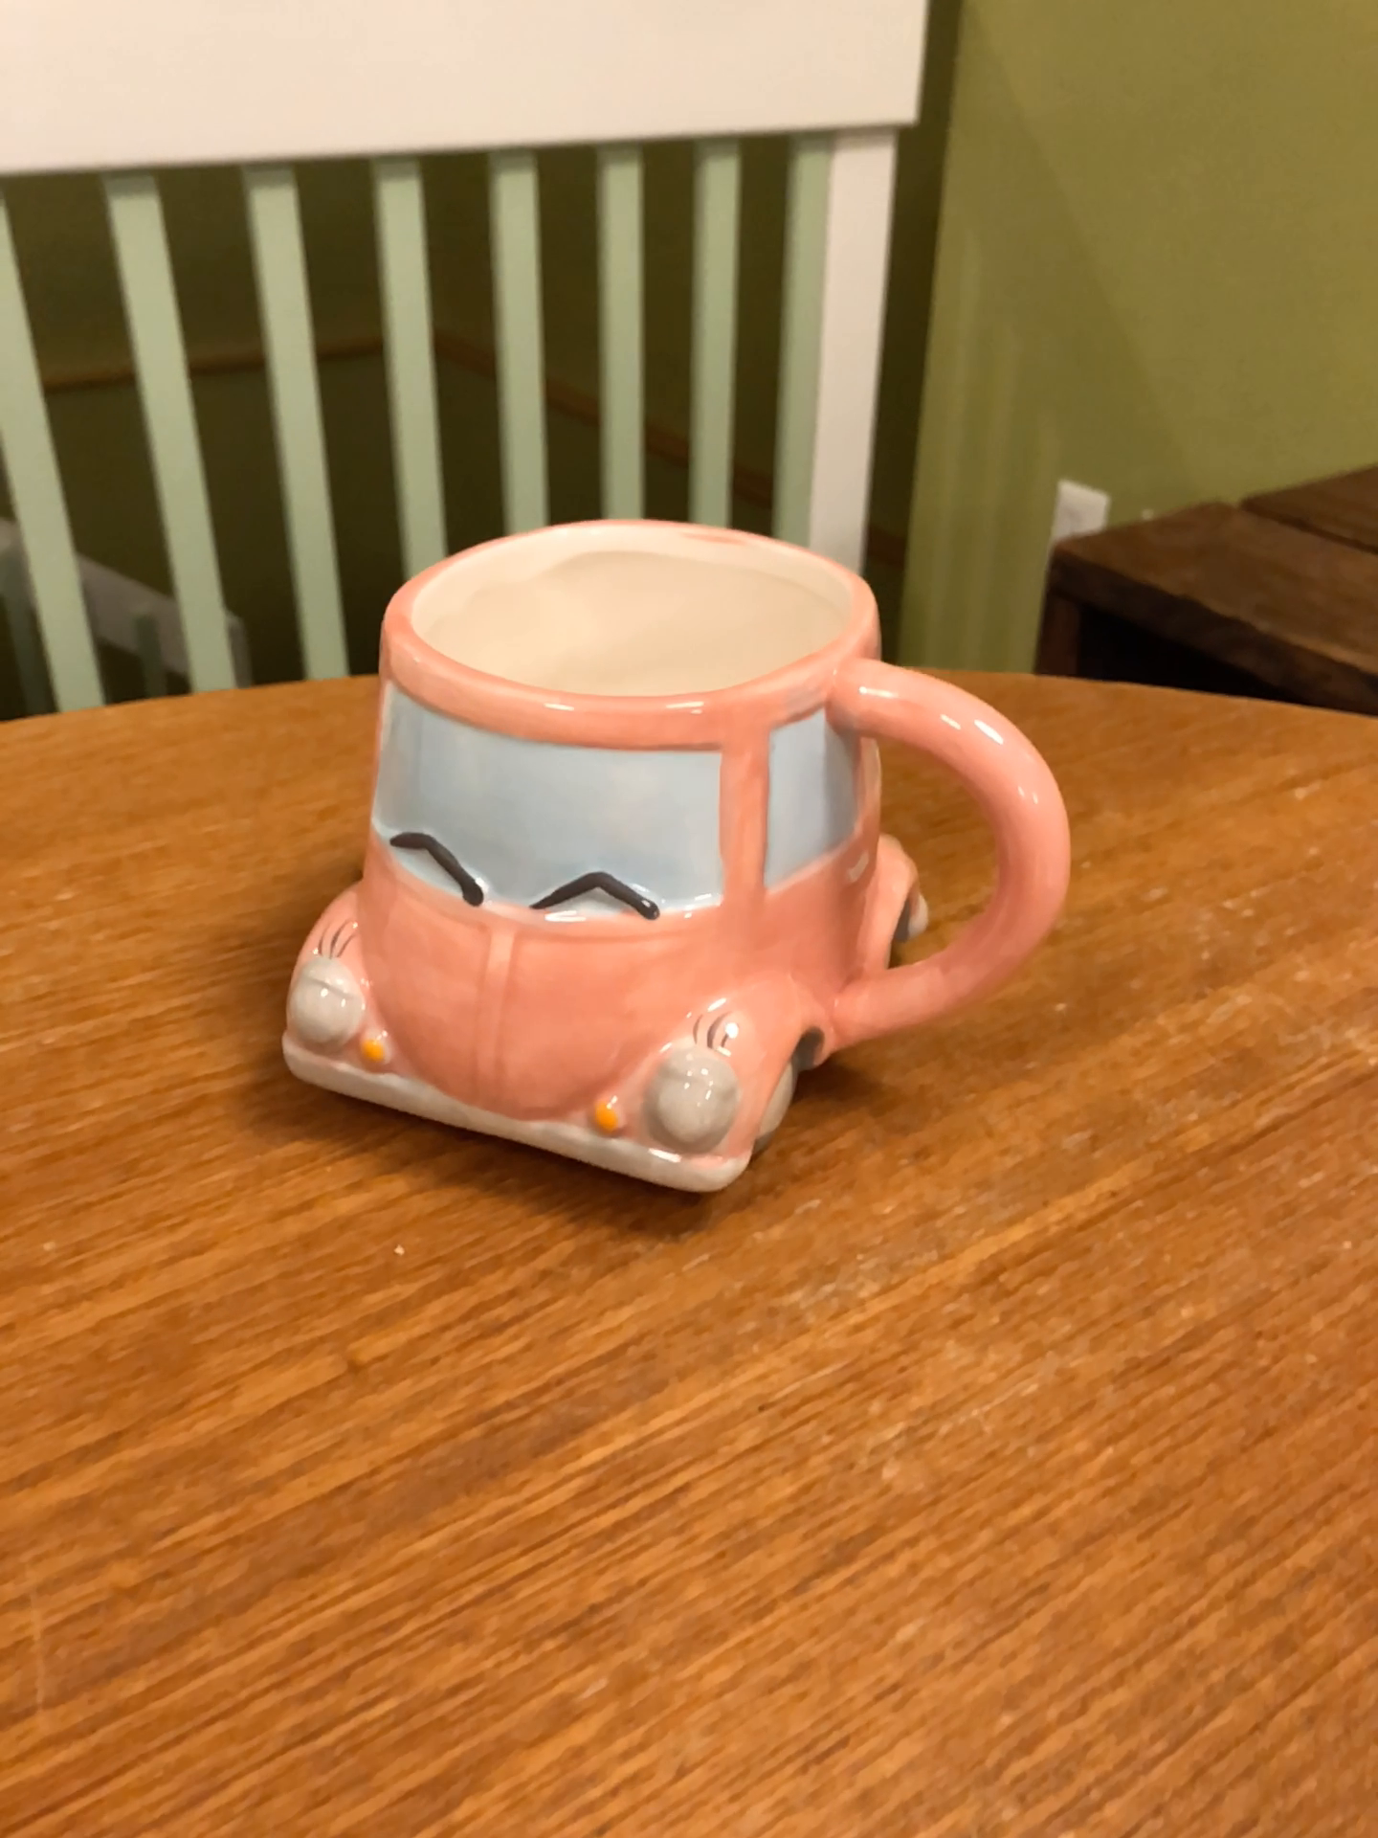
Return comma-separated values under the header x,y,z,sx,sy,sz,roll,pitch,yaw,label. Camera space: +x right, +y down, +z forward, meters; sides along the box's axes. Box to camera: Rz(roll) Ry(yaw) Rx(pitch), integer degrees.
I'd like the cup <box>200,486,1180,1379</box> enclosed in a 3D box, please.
x,y,z,sx,sy,sz,roll,pitch,yaw,label
0.009,-0.011,0.303,0.139,0.097,0.128,1,32,-1,cup
